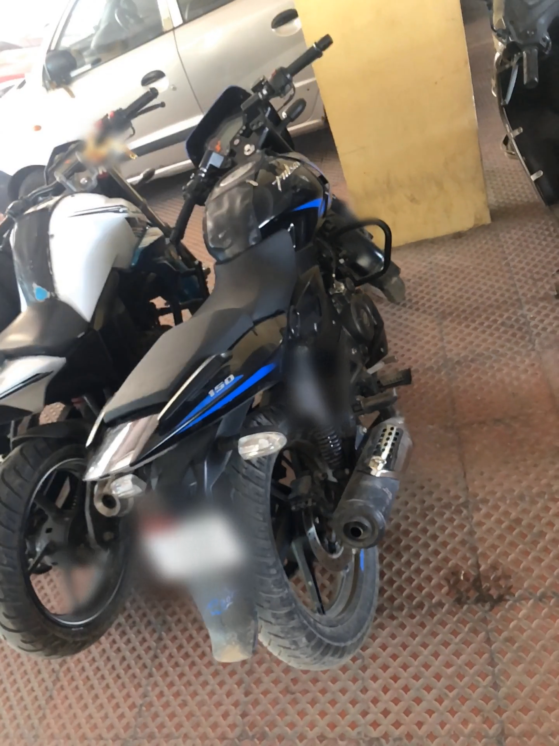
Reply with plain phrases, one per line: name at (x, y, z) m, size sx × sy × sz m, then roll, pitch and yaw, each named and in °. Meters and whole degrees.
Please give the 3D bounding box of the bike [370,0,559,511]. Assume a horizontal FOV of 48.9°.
bike at (0.944, -0.669, 2.019) m, size 0.713 × 1.222 × 1.722 m, roll -18°, pitch 36°, yaw 8°

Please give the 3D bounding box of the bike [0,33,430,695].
bike at (-0.133, -0.207, 1.849) m, size 0.746 × 0.988 × 1.852 m, roll -12°, pitch 36°, yaw 15°
